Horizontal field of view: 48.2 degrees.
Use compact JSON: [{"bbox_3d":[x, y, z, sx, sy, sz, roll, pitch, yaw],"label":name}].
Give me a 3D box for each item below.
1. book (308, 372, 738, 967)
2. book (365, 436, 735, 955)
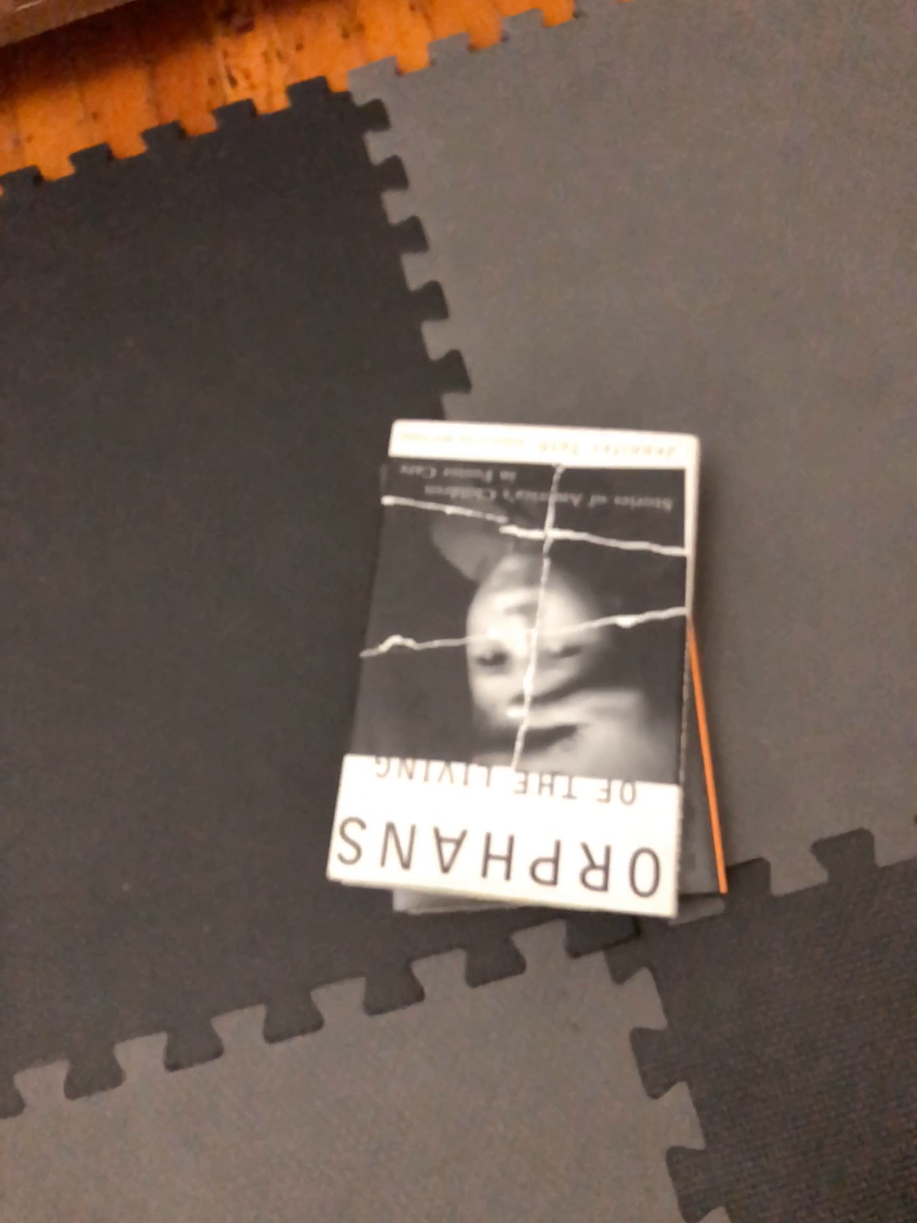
[{"bbox_3d":[0.039,0.015,0.500,0.180,0.030,0.281,4,72,9],"label":"book"},{"bbox_3d":[0.039,0.038,0.524,0.160,0.030,0.251,-6,70,6],"label":"book"}]
